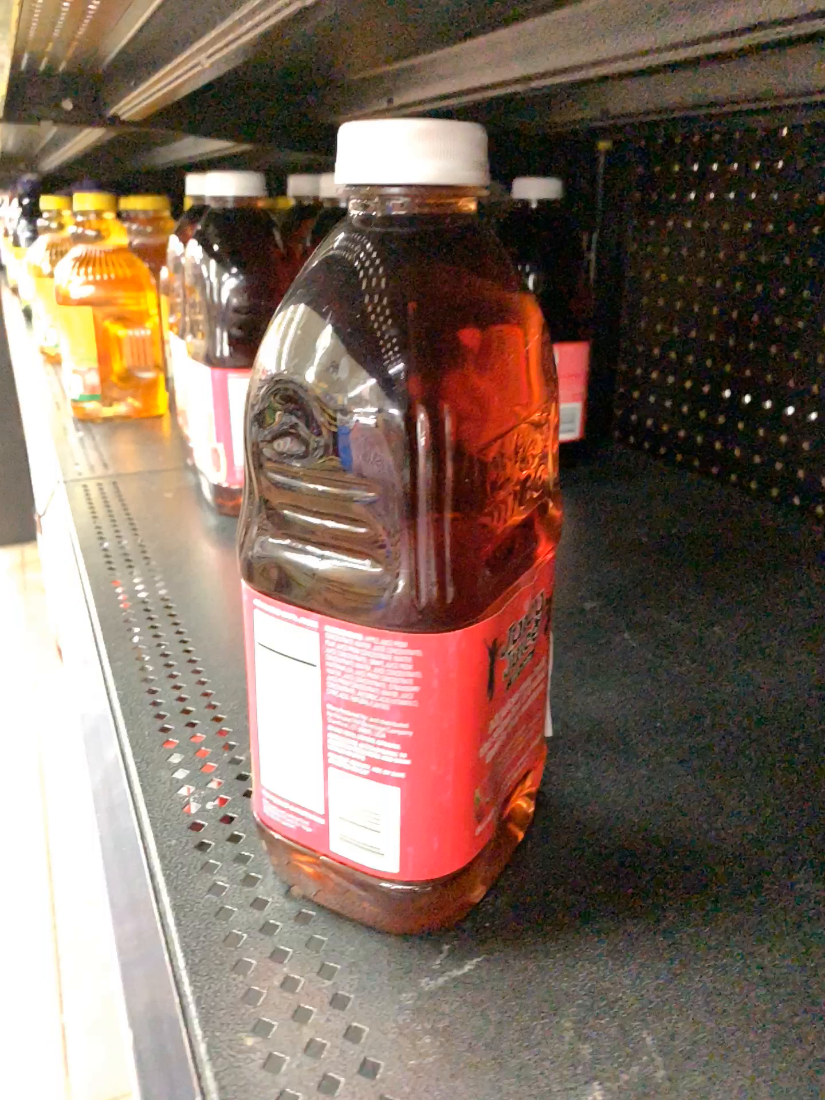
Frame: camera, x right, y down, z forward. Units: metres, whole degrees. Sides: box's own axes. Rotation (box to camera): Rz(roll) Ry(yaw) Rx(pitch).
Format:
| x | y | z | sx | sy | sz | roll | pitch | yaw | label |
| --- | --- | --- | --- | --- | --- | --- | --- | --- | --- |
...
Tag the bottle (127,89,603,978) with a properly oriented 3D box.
| x | y | z | sx | sy | sz | roll | pitch | yaw | label |
| --- | --- | --- | --- | --- | --- | --- | --- | --- | --- |
| -0.003 | -0.009 | 0.299 | 0.090 | 0.255 | 0.125 | 10 | 25 | 25 | bottle |
